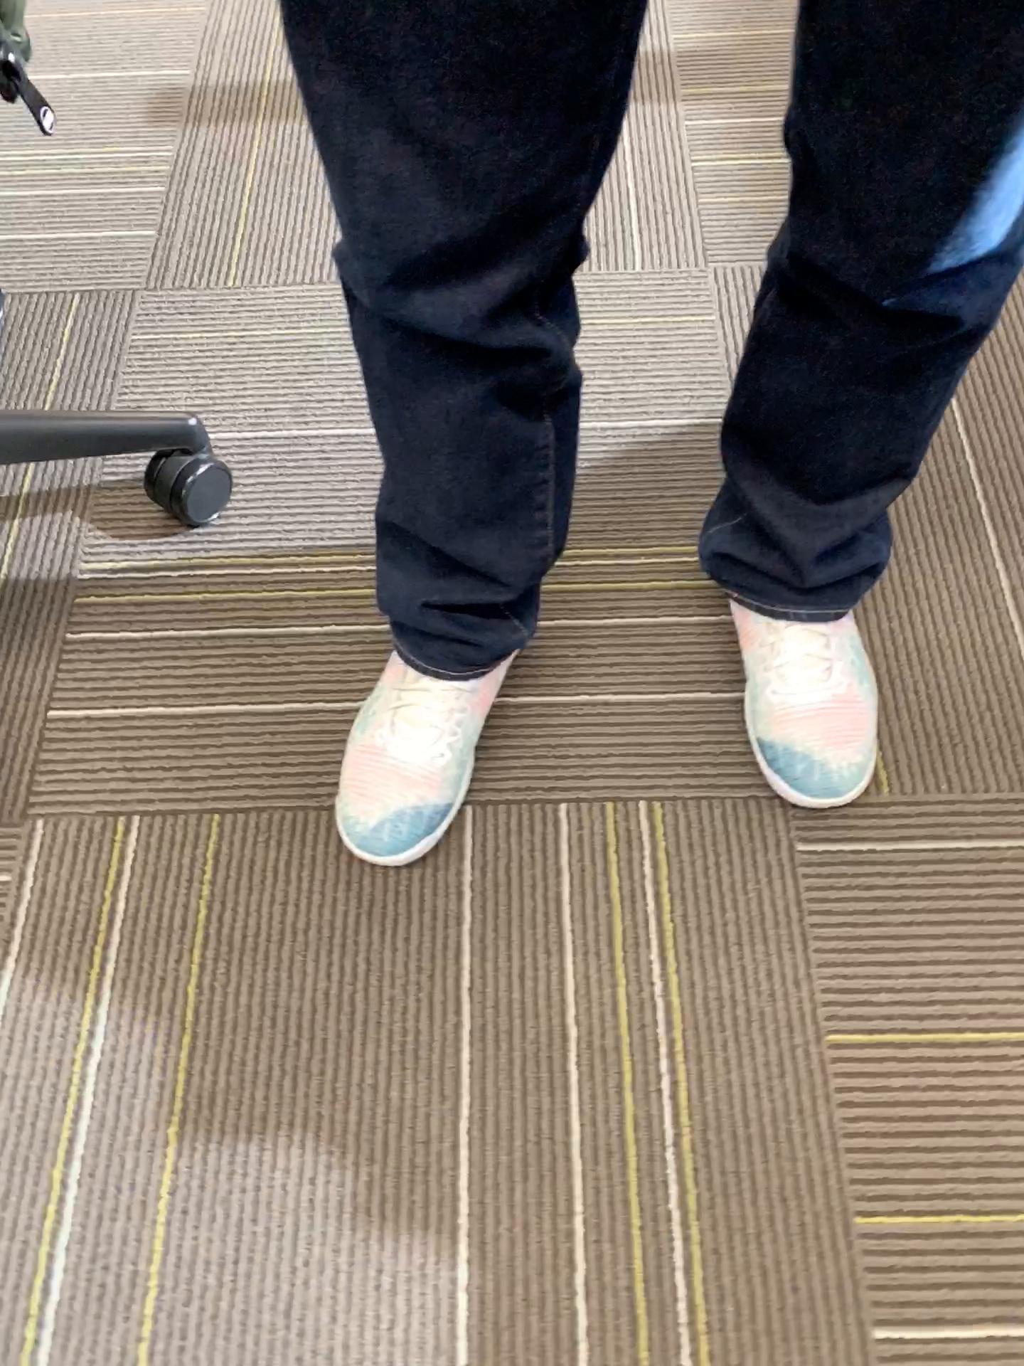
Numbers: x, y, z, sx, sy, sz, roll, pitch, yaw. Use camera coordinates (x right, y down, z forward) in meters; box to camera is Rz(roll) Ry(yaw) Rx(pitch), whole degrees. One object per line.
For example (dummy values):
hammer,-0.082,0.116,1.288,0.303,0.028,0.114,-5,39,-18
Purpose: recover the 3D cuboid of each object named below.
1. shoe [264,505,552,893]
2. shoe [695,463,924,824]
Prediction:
shoe,-0.072,0.006,0.841,0.118,0.088,0.283,18,64,12
shoe,0.234,-0.038,0.863,0.122,0.078,0.290,-4,62,2
